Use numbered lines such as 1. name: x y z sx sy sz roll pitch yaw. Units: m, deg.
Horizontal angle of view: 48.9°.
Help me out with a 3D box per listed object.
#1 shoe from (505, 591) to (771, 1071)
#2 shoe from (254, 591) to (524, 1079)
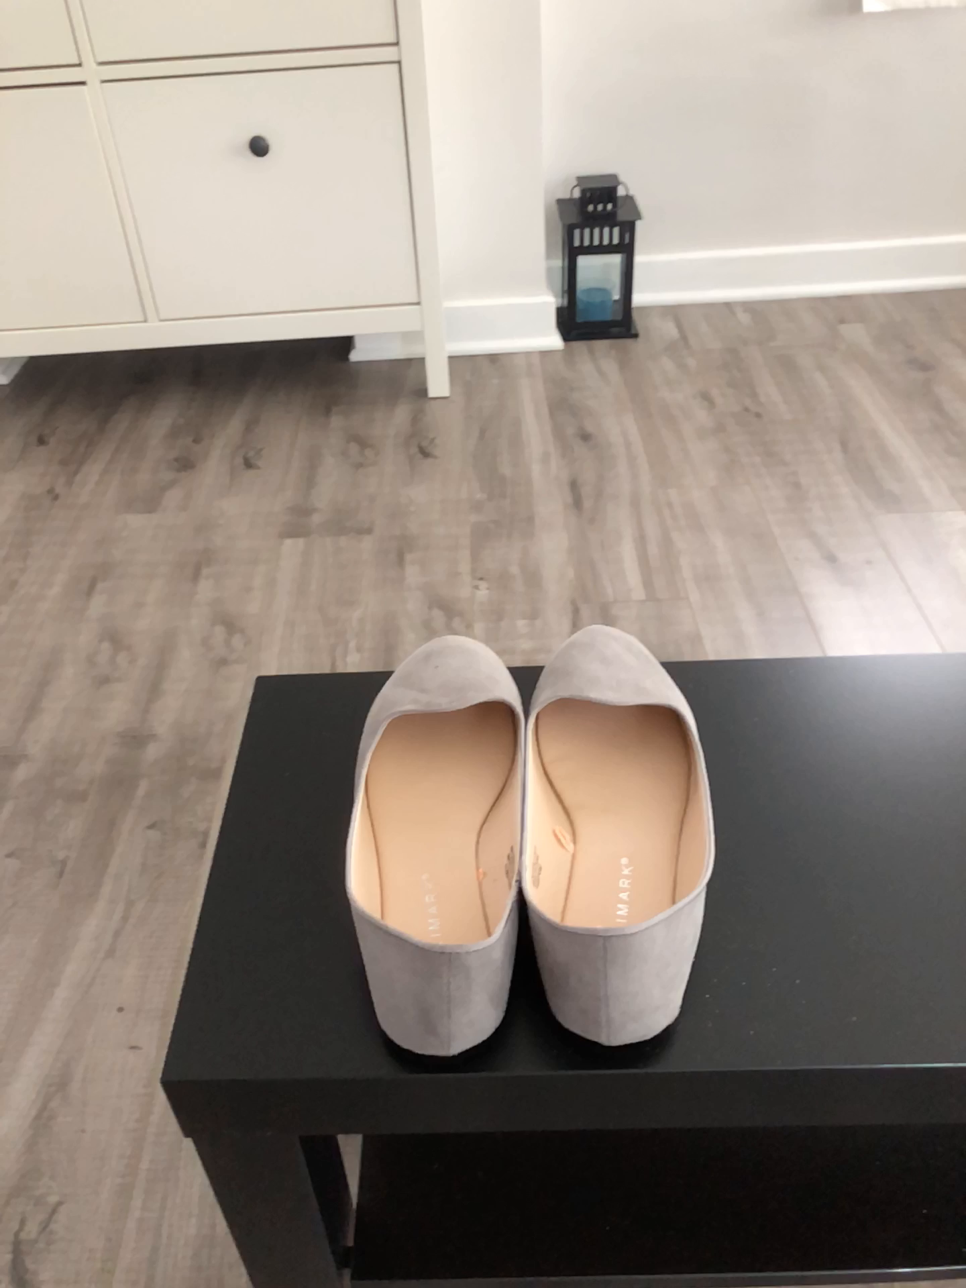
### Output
1. shoe: 0.064 0.073 0.518 0.100 0.060 0.251 -1 39 3
2. shoe: -0.032 0.075 0.523 0.100 0.060 0.257 -1 39 3
